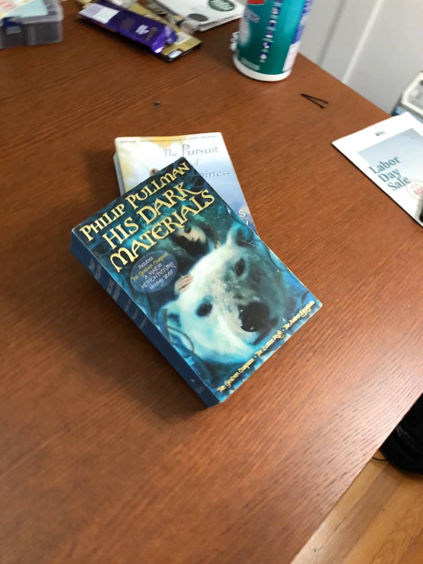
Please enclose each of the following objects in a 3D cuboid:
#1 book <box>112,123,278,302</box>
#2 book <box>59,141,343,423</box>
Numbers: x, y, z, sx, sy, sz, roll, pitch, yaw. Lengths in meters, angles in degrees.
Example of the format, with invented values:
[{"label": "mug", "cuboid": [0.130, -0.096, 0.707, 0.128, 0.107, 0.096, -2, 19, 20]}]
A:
[{"label": "book", "cuboid": [-0.030, -0.100, 0.601, 0.170, 0.040, 0.241, -7, 61, -9]}, {"label": "book", "cuboid": [-0.011, -0.006, 0.488, 0.171, 0.060, 0.240, -41, 84, -26]}]
